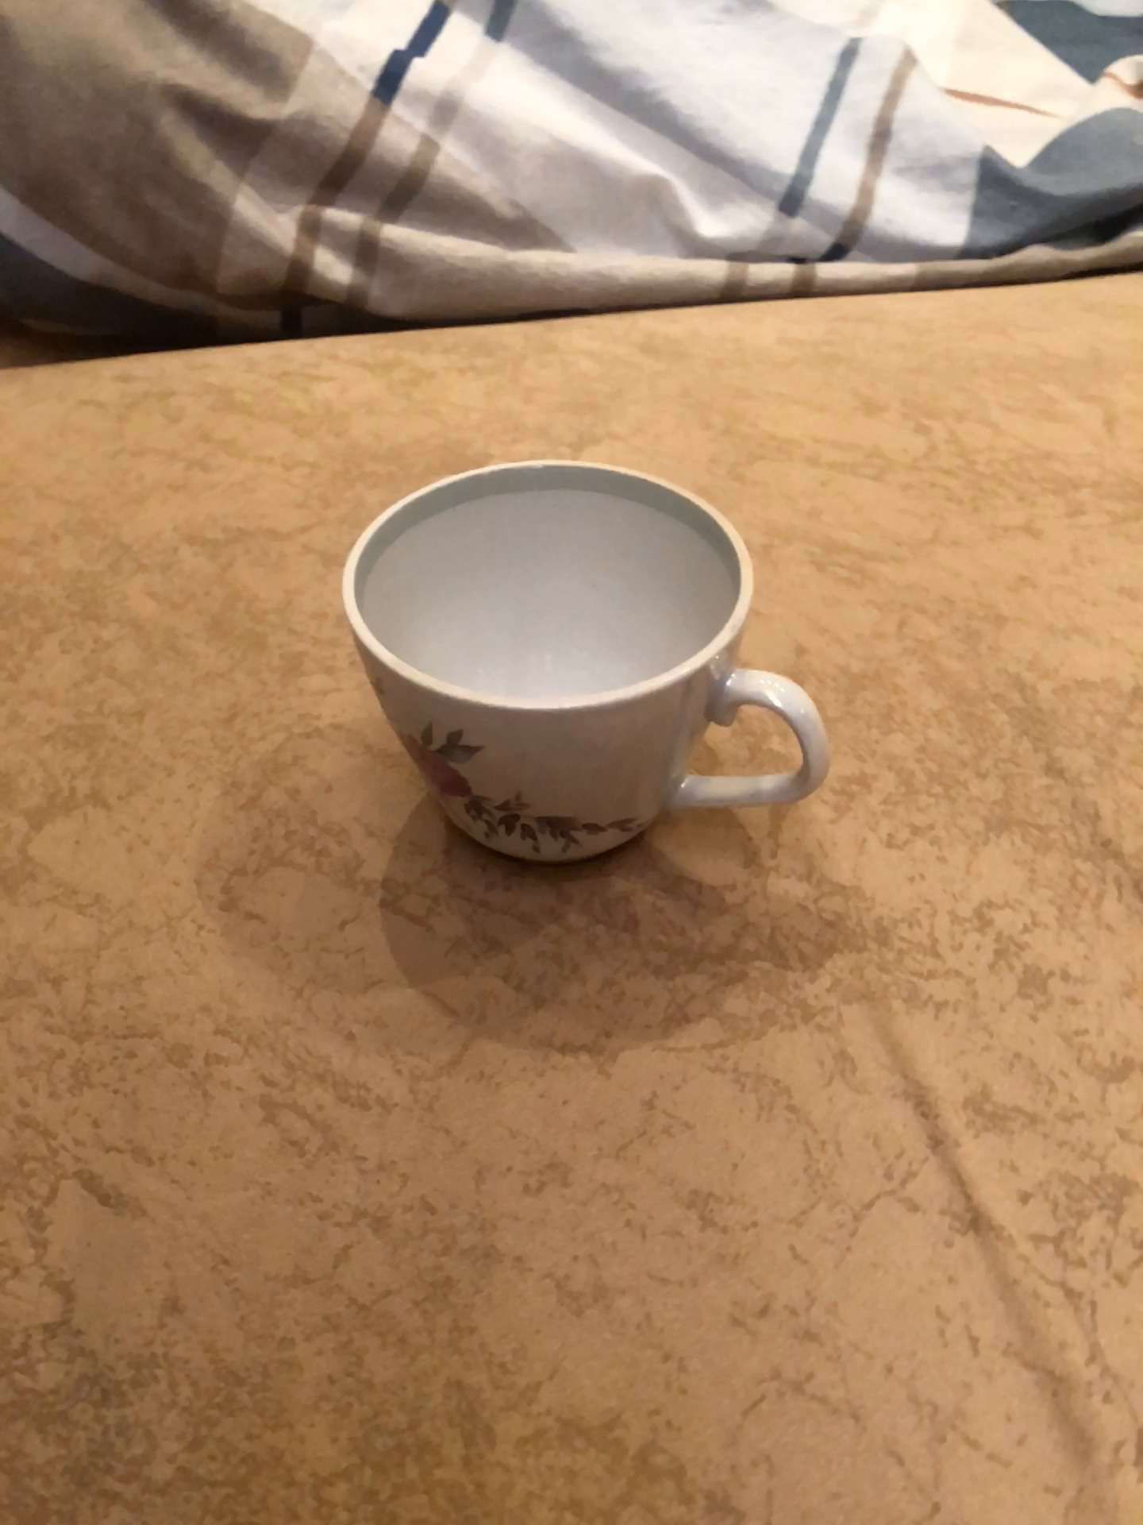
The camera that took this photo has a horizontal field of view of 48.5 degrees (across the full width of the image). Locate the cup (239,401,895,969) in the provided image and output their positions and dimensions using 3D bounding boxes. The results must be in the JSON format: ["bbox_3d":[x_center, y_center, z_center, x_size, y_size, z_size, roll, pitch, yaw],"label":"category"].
[{"bbox_3d":[0.003,-0.023,0.287,0.110,0.060,0.090,17,47,18],"label":"cup"}]
